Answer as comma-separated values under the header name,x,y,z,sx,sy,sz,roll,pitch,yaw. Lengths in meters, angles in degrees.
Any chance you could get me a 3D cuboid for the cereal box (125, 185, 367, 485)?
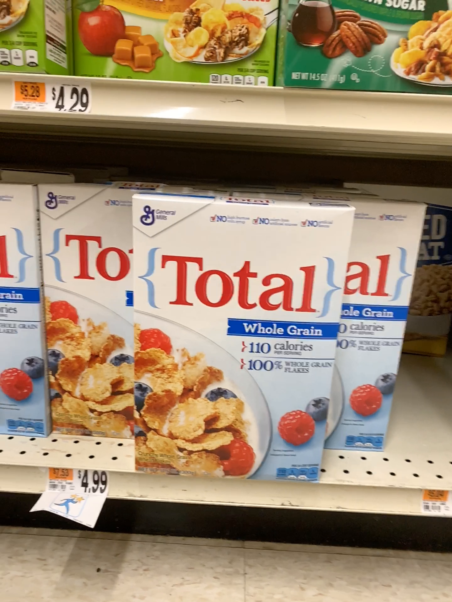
name,x,y,z,sx,sy,sz,roll,pitch,yaw
cereal box,0.010,0.038,0.449,0.200,0.279,0.050,3,17,1
